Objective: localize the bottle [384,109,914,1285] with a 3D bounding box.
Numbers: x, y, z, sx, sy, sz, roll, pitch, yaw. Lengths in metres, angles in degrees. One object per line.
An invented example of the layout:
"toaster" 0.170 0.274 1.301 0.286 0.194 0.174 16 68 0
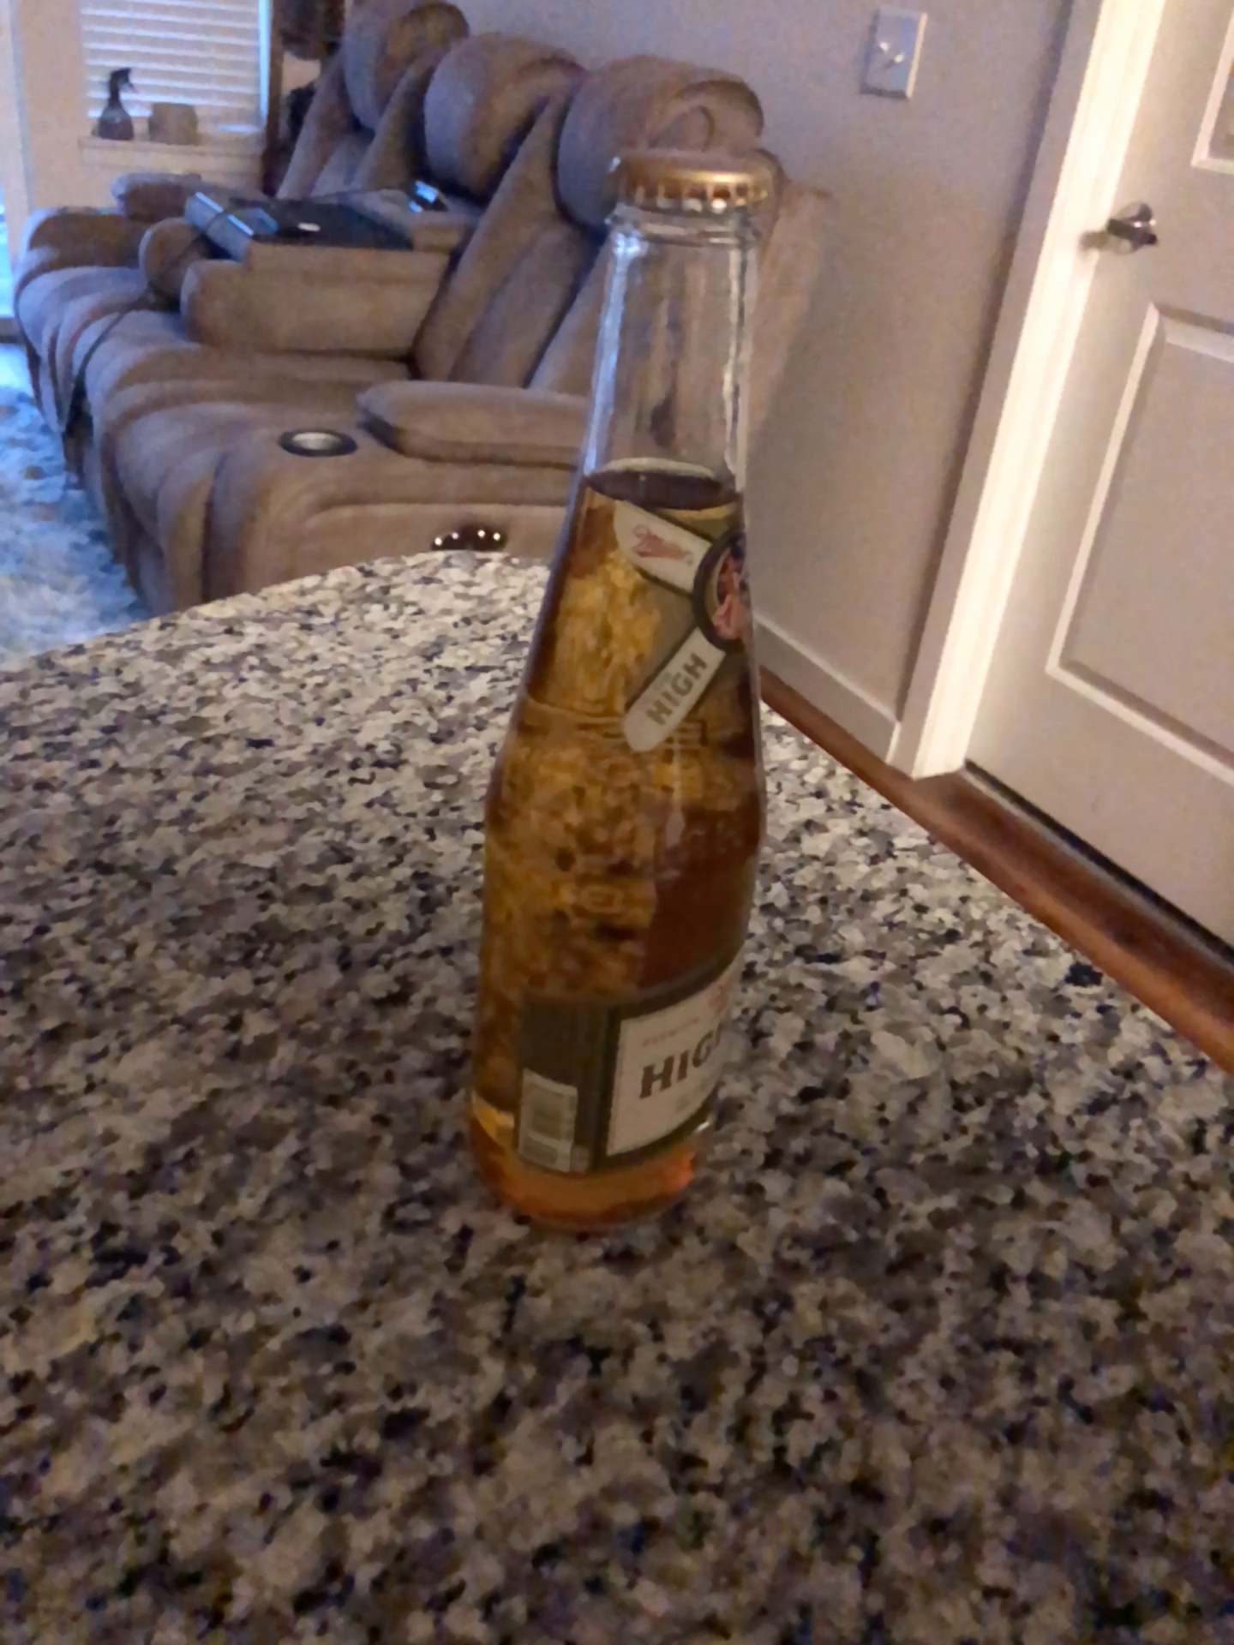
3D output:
"bottle" -0.001 -0.015 0.284 0.070 0.229 0.060 15 31 13
